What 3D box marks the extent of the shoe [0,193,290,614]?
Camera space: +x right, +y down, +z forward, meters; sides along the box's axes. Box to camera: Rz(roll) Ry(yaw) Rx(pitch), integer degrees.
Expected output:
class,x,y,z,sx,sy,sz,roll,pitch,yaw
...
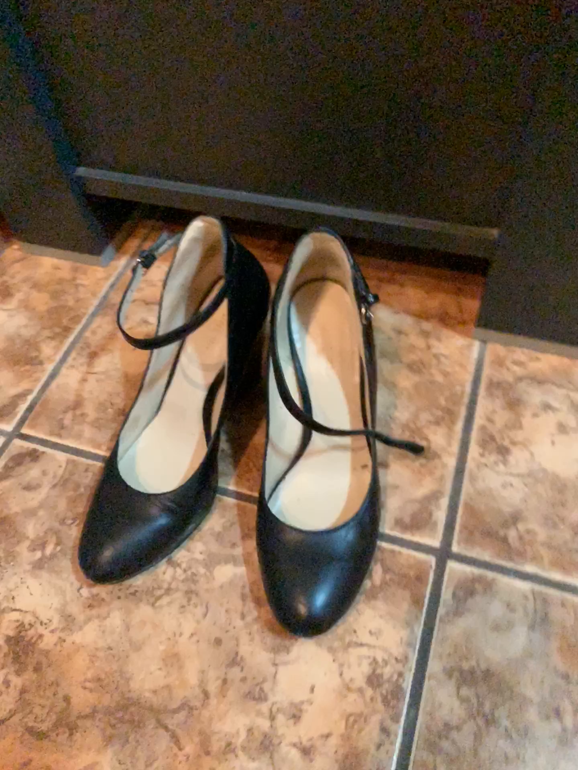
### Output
class,x,y,z,sx,sy,sz,roll,pitch,yaw
shoe,-0.079,0.012,0.378,0.079,0.159,0.201,16,57,16

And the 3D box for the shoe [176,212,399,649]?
class,x,y,z,sx,sy,sz,roll,pitch,yaw
shoe,0.014,0.024,0.350,0.087,0.140,0.210,3,55,7
